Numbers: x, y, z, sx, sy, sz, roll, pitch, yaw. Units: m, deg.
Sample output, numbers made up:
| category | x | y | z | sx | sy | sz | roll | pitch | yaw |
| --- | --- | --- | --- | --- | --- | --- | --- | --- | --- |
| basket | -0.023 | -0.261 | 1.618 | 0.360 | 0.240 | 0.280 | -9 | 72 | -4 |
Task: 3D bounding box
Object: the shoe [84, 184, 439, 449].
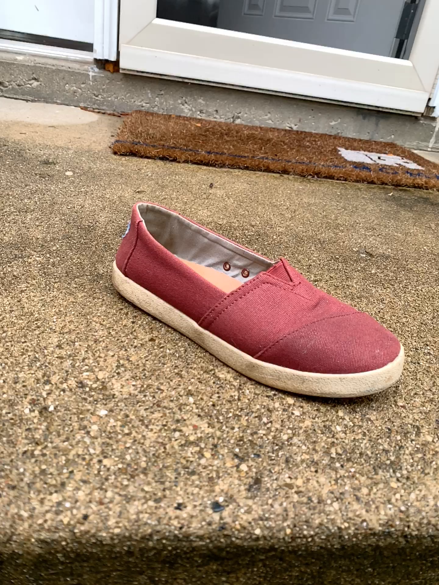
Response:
| category | x | y | z | sx | sy | sz | roll | pitch | yaw |
| --- | --- | --- | --- | --- | --- | --- | --- | --- | --- |
| shoe | 0.019 | -0.003 | 0.367 | 0.265 | 0.089 | 0.098 | 24 | 31 | 26 |
